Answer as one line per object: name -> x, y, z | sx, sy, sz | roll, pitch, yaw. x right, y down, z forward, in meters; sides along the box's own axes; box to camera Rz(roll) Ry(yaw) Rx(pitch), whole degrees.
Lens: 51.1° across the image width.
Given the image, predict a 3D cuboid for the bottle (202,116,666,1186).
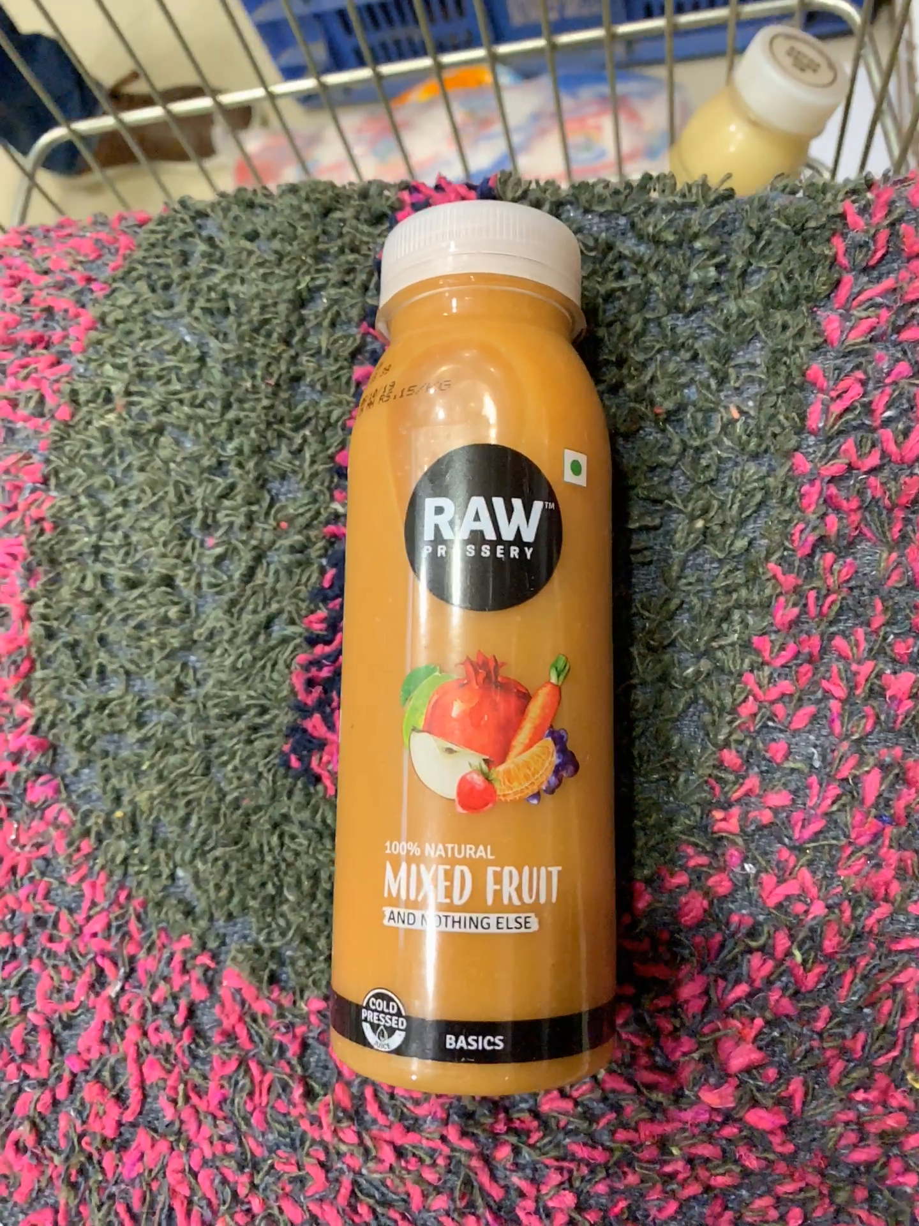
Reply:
bottle -> -0.003, 0.005, 0.166 | 0.060, 0.060, 0.150 | 3, 81, -5
